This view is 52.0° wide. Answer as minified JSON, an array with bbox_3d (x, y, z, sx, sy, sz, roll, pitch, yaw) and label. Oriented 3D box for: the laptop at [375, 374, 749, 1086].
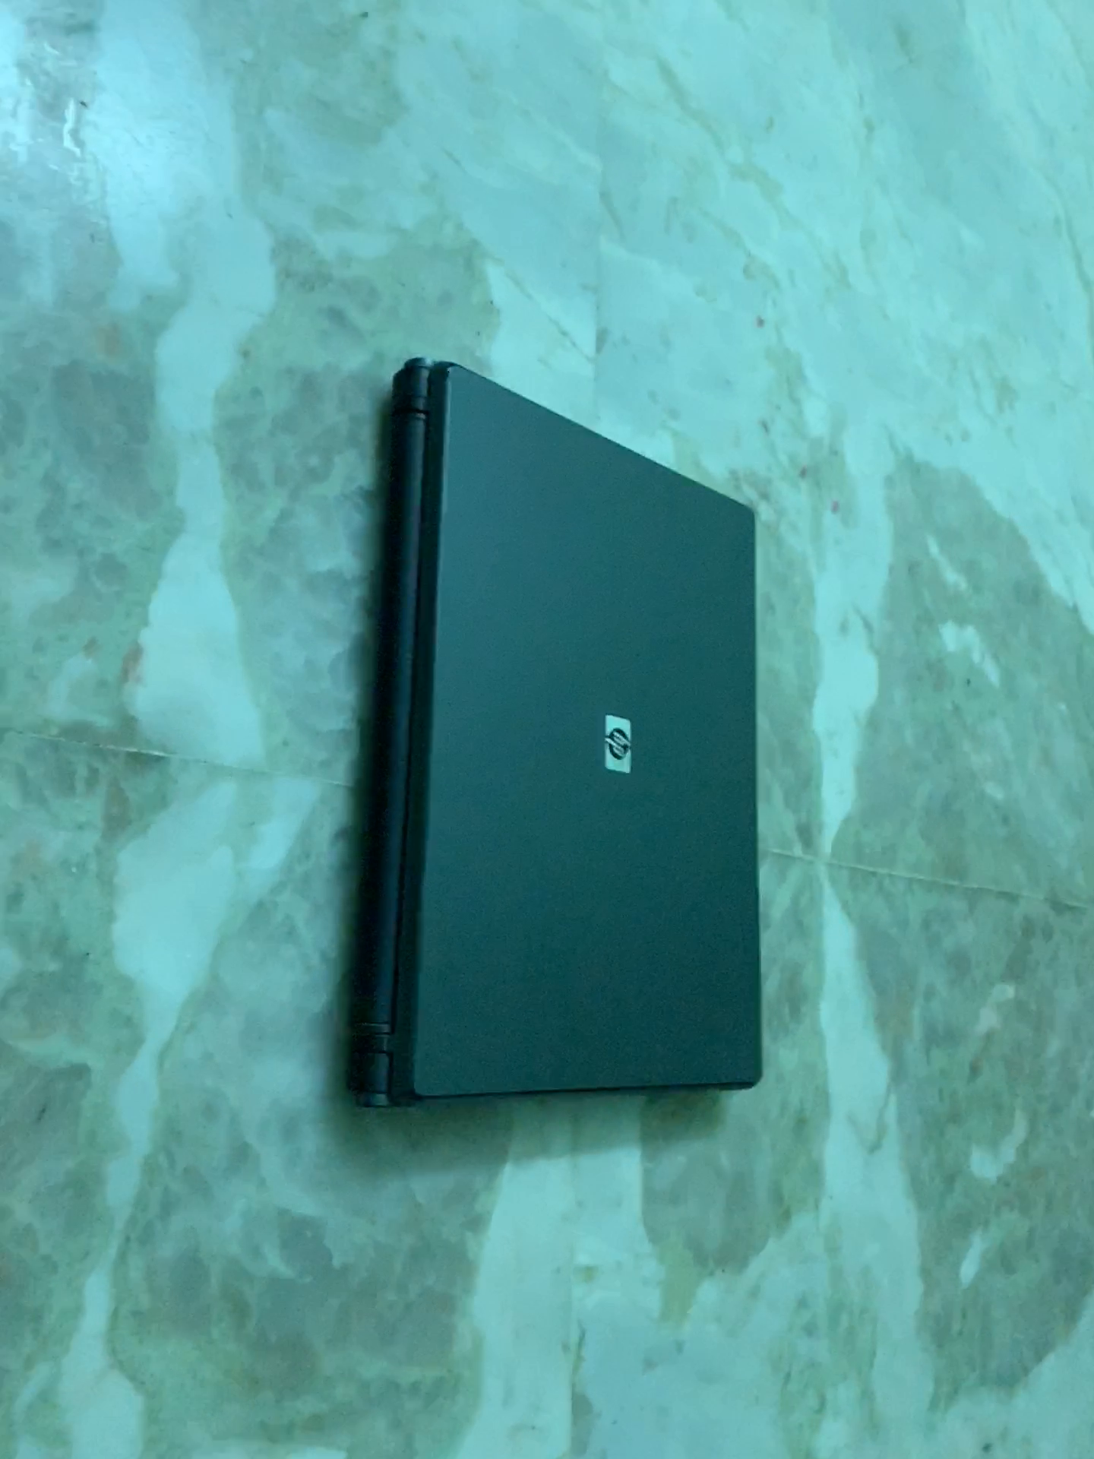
[{"bbox_3d":[0.024,0.010,0.547,0.227,0.001,0.310,13,73,-39],"label":"laptop"}]
